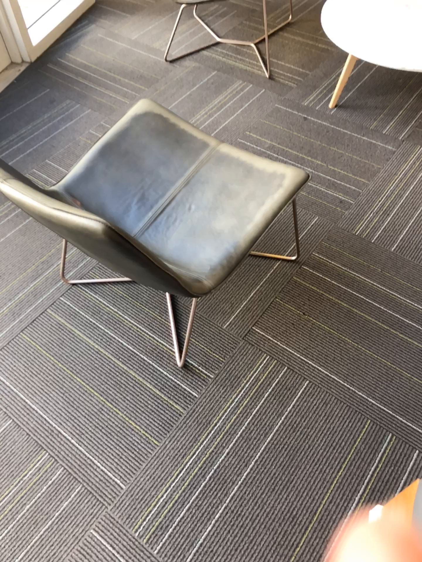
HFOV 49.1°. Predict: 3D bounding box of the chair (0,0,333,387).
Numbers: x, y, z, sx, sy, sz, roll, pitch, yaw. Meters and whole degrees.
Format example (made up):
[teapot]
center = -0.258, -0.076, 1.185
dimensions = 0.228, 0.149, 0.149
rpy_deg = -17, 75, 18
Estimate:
[chair]
center = -0.161, -0.282, 1.348
dimensions = 0.672, 0.877, 0.651
rpy_deg = 32, 67, 23
